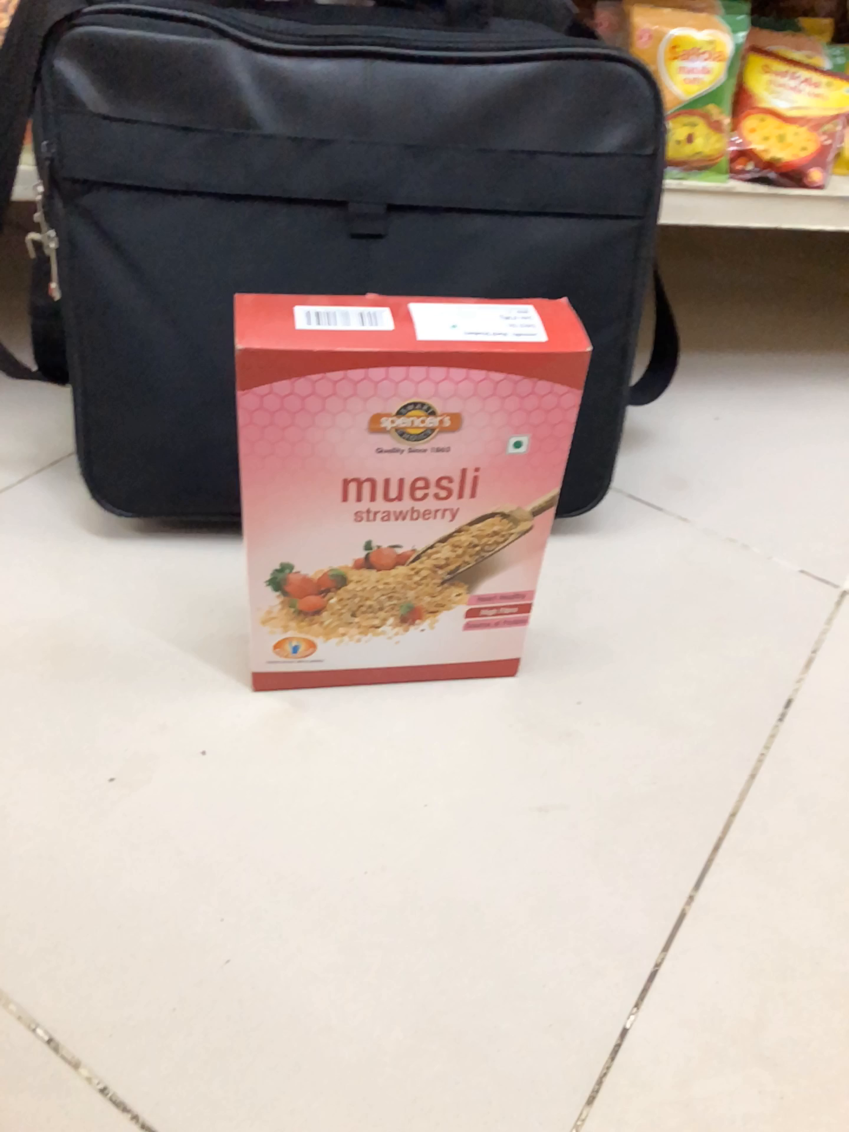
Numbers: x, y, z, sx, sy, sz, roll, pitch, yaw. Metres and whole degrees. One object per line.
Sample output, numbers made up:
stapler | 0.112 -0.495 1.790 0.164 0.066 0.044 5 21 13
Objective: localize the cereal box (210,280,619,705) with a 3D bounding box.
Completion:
cereal box | -0.016 -0.032 0.558 0.200 0.258 0.060 -2 41 -10
